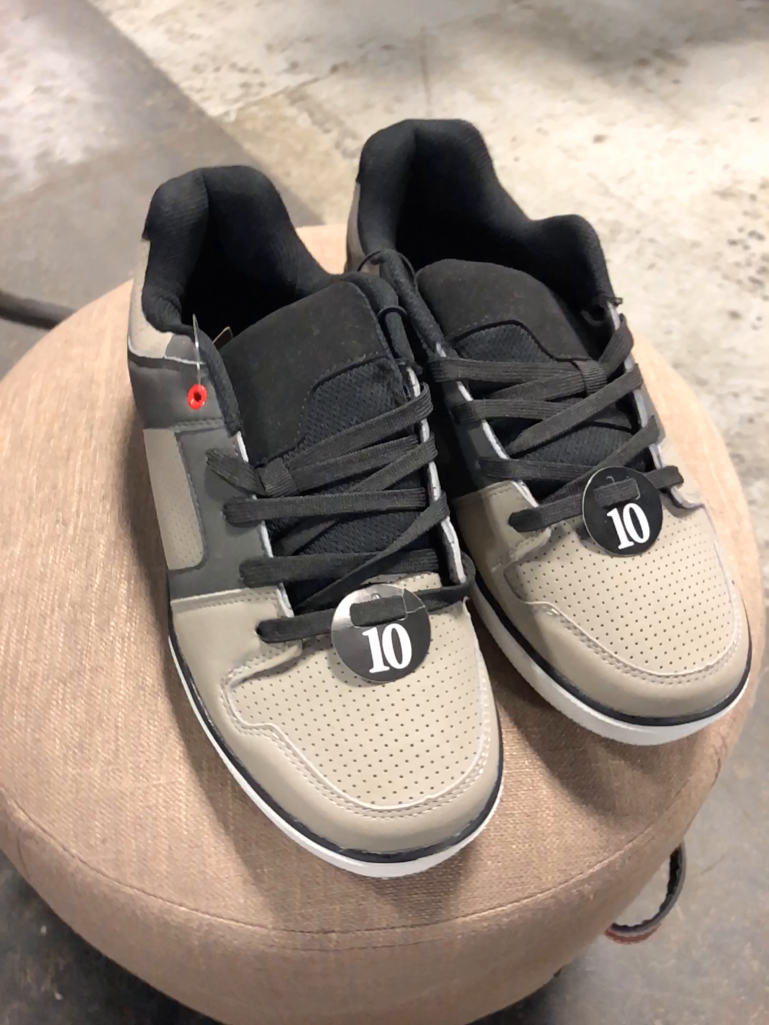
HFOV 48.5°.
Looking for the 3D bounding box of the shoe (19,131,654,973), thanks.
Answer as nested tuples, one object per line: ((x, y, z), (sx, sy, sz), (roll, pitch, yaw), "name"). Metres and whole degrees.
((-0.037, -0.001, 0.311), (0.120, 0.119, 0.261), (-16, 58, -12), "shoe")

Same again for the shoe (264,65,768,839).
((0.060, -0.049, 0.359), (0.120, 0.099, 0.312), (-18, 59, -13), "shoe")
